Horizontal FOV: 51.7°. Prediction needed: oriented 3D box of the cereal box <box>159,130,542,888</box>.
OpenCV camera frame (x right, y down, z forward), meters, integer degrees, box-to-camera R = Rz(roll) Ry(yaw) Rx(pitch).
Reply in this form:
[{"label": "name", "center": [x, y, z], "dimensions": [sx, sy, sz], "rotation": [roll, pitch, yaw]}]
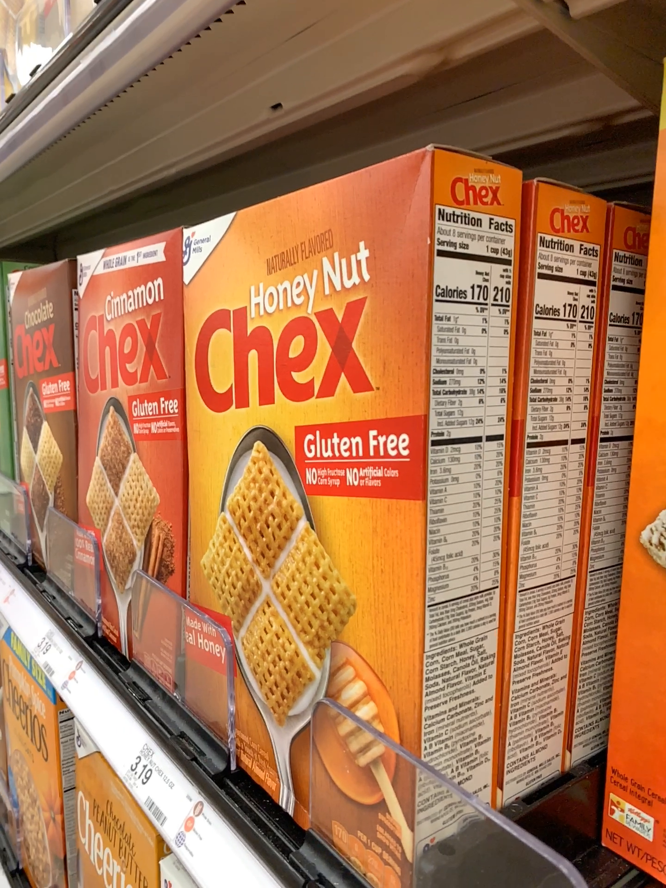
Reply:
[{"label": "cereal box", "center": [-0.009, 0.024, 0.333], "dimensions": [0.060, 0.279, 0.200], "rotation": [-6, 10, -38]}]
